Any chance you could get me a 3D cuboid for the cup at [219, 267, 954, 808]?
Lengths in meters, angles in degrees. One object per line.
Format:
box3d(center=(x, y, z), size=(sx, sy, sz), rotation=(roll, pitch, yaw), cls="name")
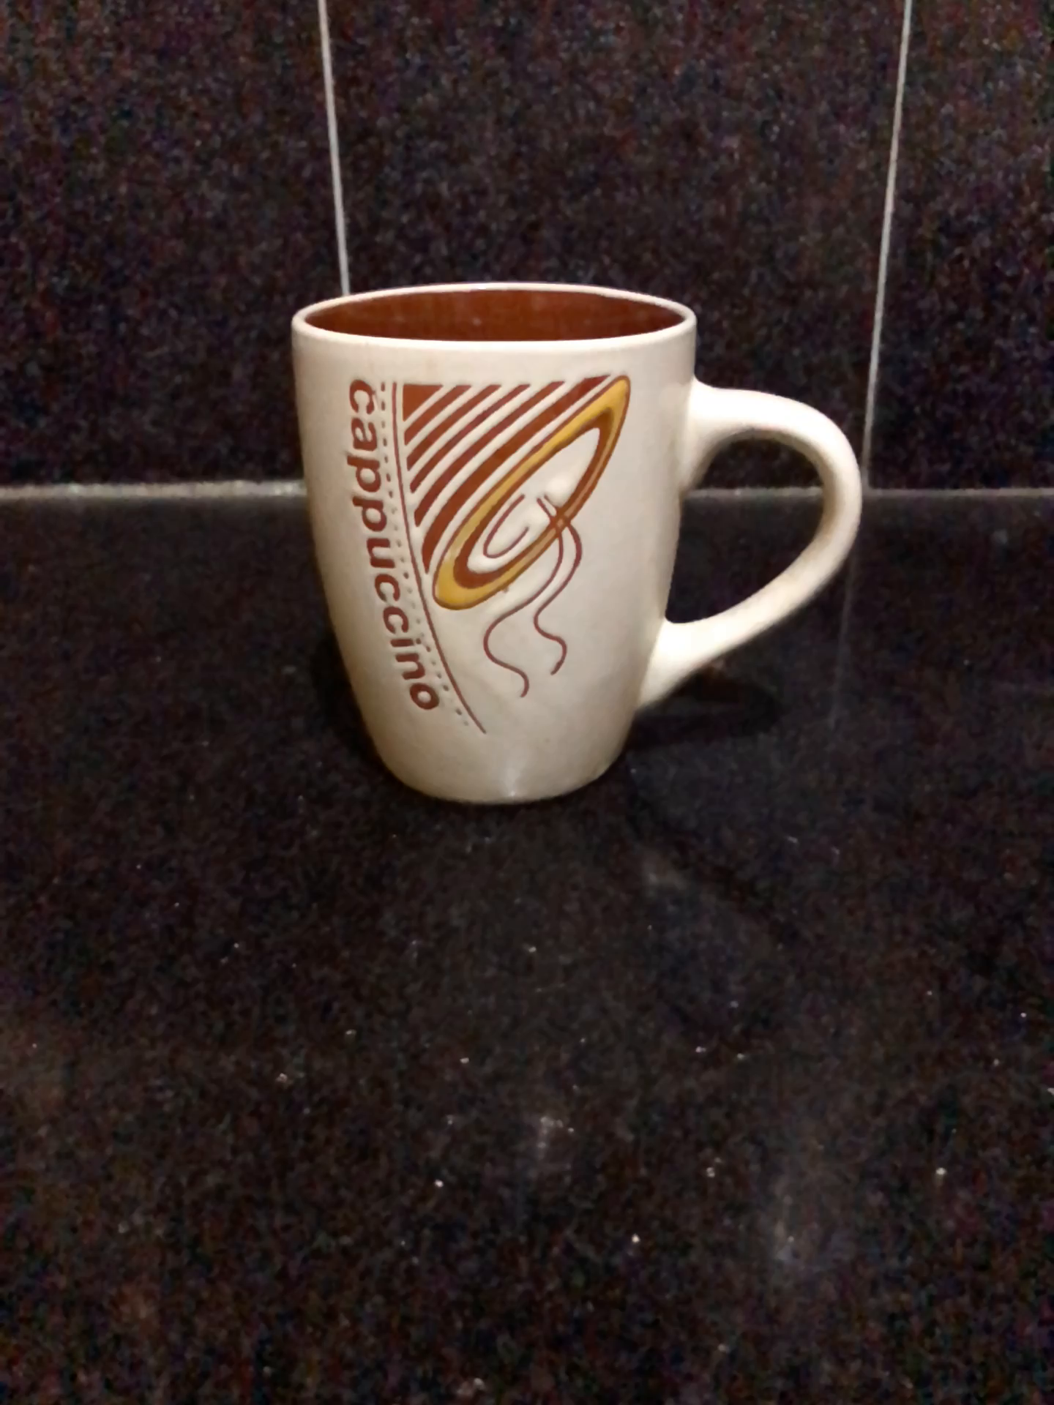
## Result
box3d(center=(0.011, -0.040, 0.252), size=(0.120, 0.089, 0.091), rotation=(0, 26, 1), cls="cup")
